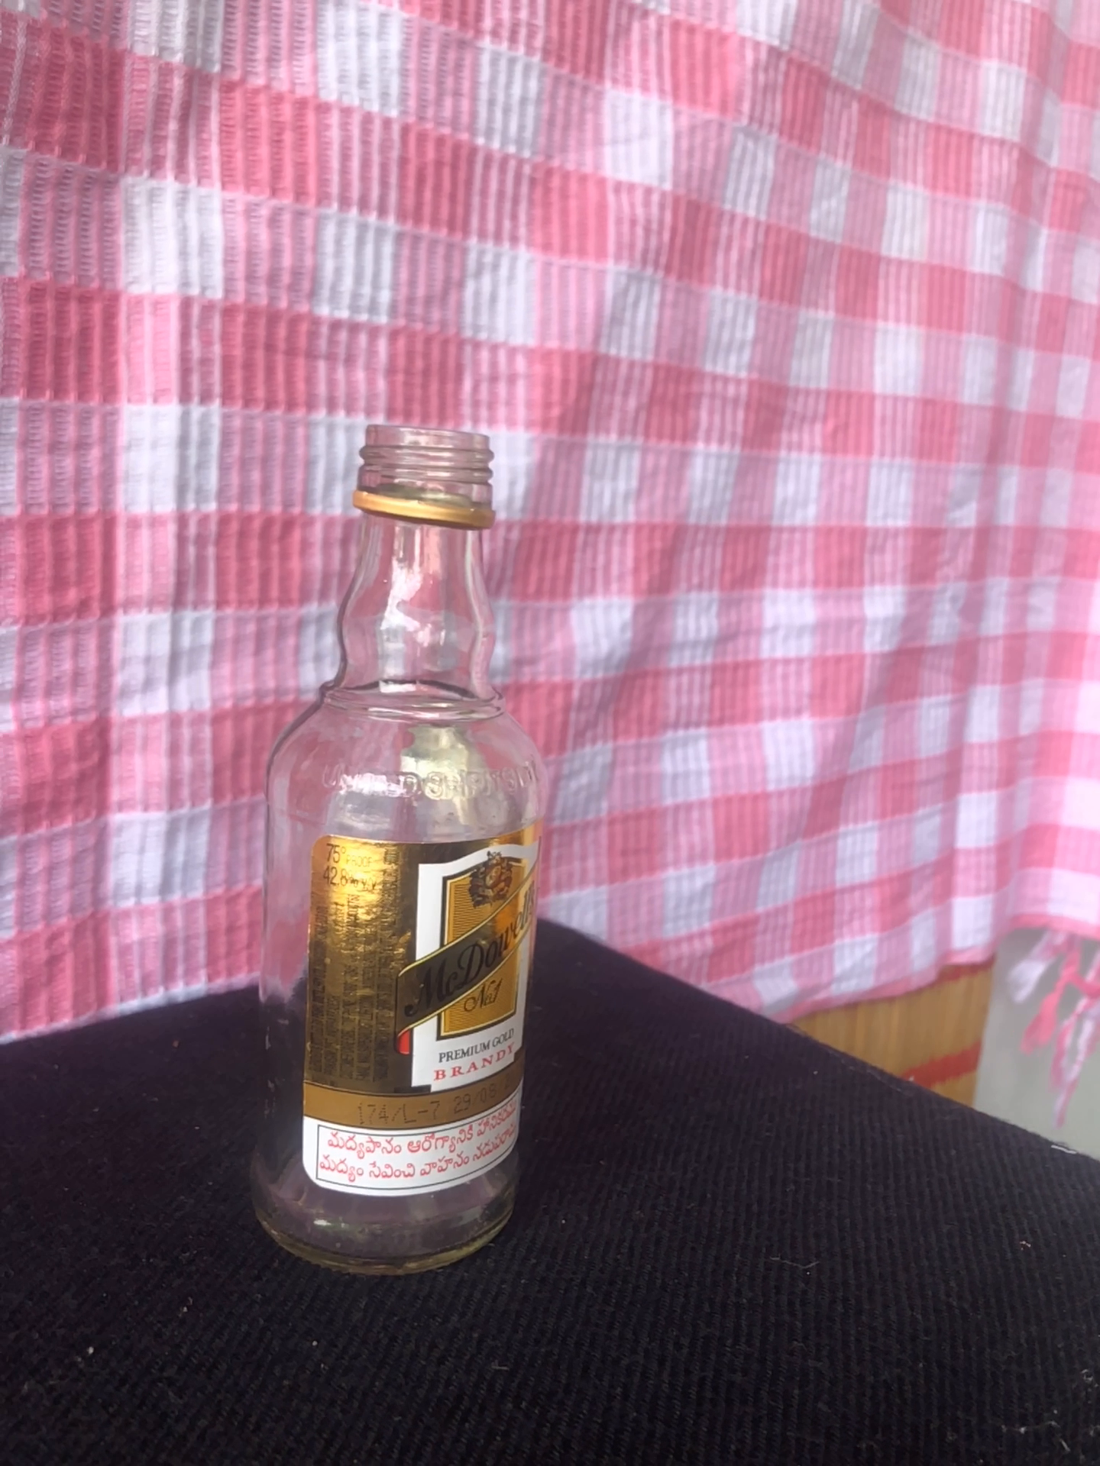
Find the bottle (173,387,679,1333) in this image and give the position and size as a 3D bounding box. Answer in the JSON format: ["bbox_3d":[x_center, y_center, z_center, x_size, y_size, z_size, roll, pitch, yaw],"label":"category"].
[{"bbox_3d":[-0.025,0.018,0.225,0.060,0.150,0.050,-2,14,-39],"label":"bottle"}]
